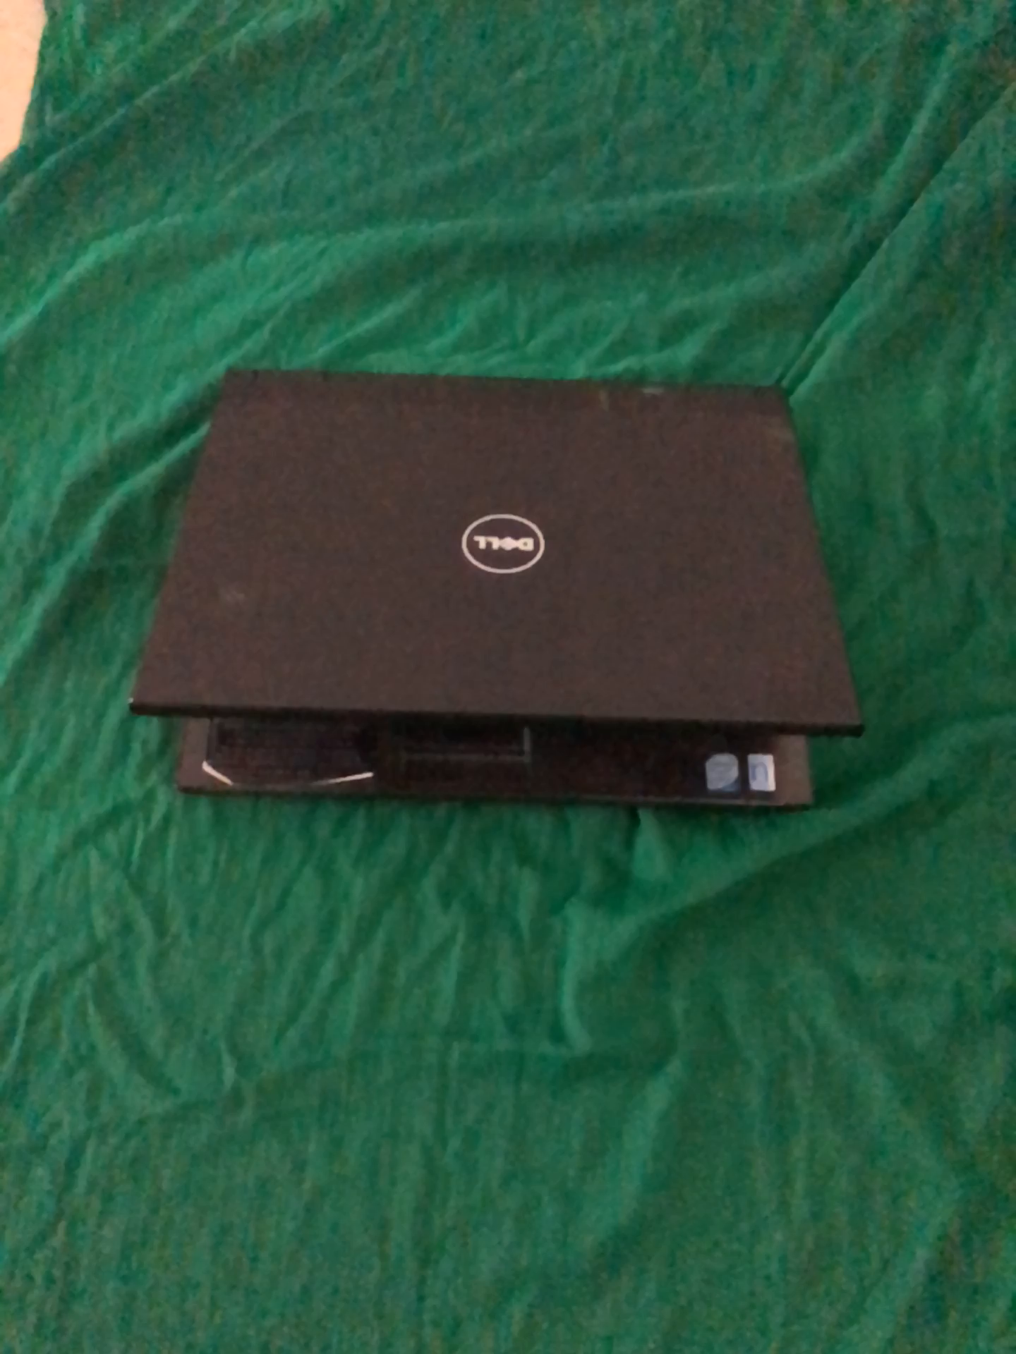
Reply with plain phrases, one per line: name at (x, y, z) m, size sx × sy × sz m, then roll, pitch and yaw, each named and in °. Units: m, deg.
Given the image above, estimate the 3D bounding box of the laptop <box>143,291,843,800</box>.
laptop at (-0.002, -0.064, 0.553) m, size 0.306 × 0.066 × 0.226 m, roll 2°, pitch 74°, yaw -1°
